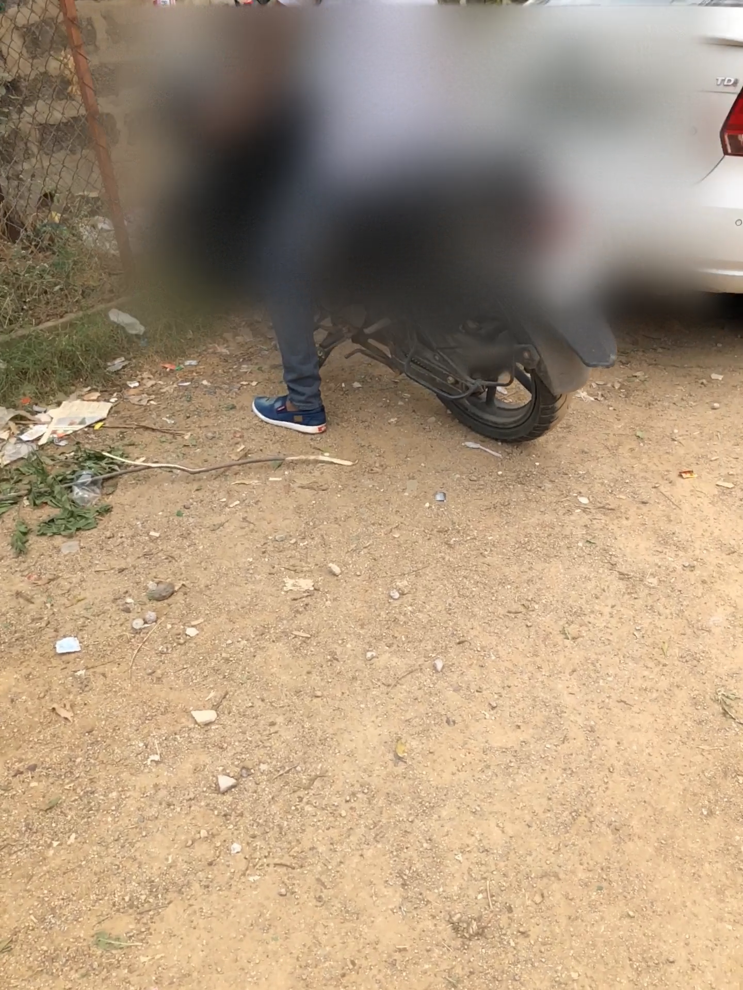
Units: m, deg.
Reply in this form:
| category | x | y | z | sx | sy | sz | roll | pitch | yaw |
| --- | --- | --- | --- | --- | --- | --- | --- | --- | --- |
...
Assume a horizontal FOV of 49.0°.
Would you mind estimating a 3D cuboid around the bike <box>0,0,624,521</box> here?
| category | x | y | z | sx | sy | sz | roll | pitch | yaw |
| --- | --- | --- | --- | --- | --- | --- | --- | --- | --- |
| bike | -0.282 | -0.853 | 2.133 | 1.619 | 1.095 | 0.530 | 26 | 43 | 30 |
